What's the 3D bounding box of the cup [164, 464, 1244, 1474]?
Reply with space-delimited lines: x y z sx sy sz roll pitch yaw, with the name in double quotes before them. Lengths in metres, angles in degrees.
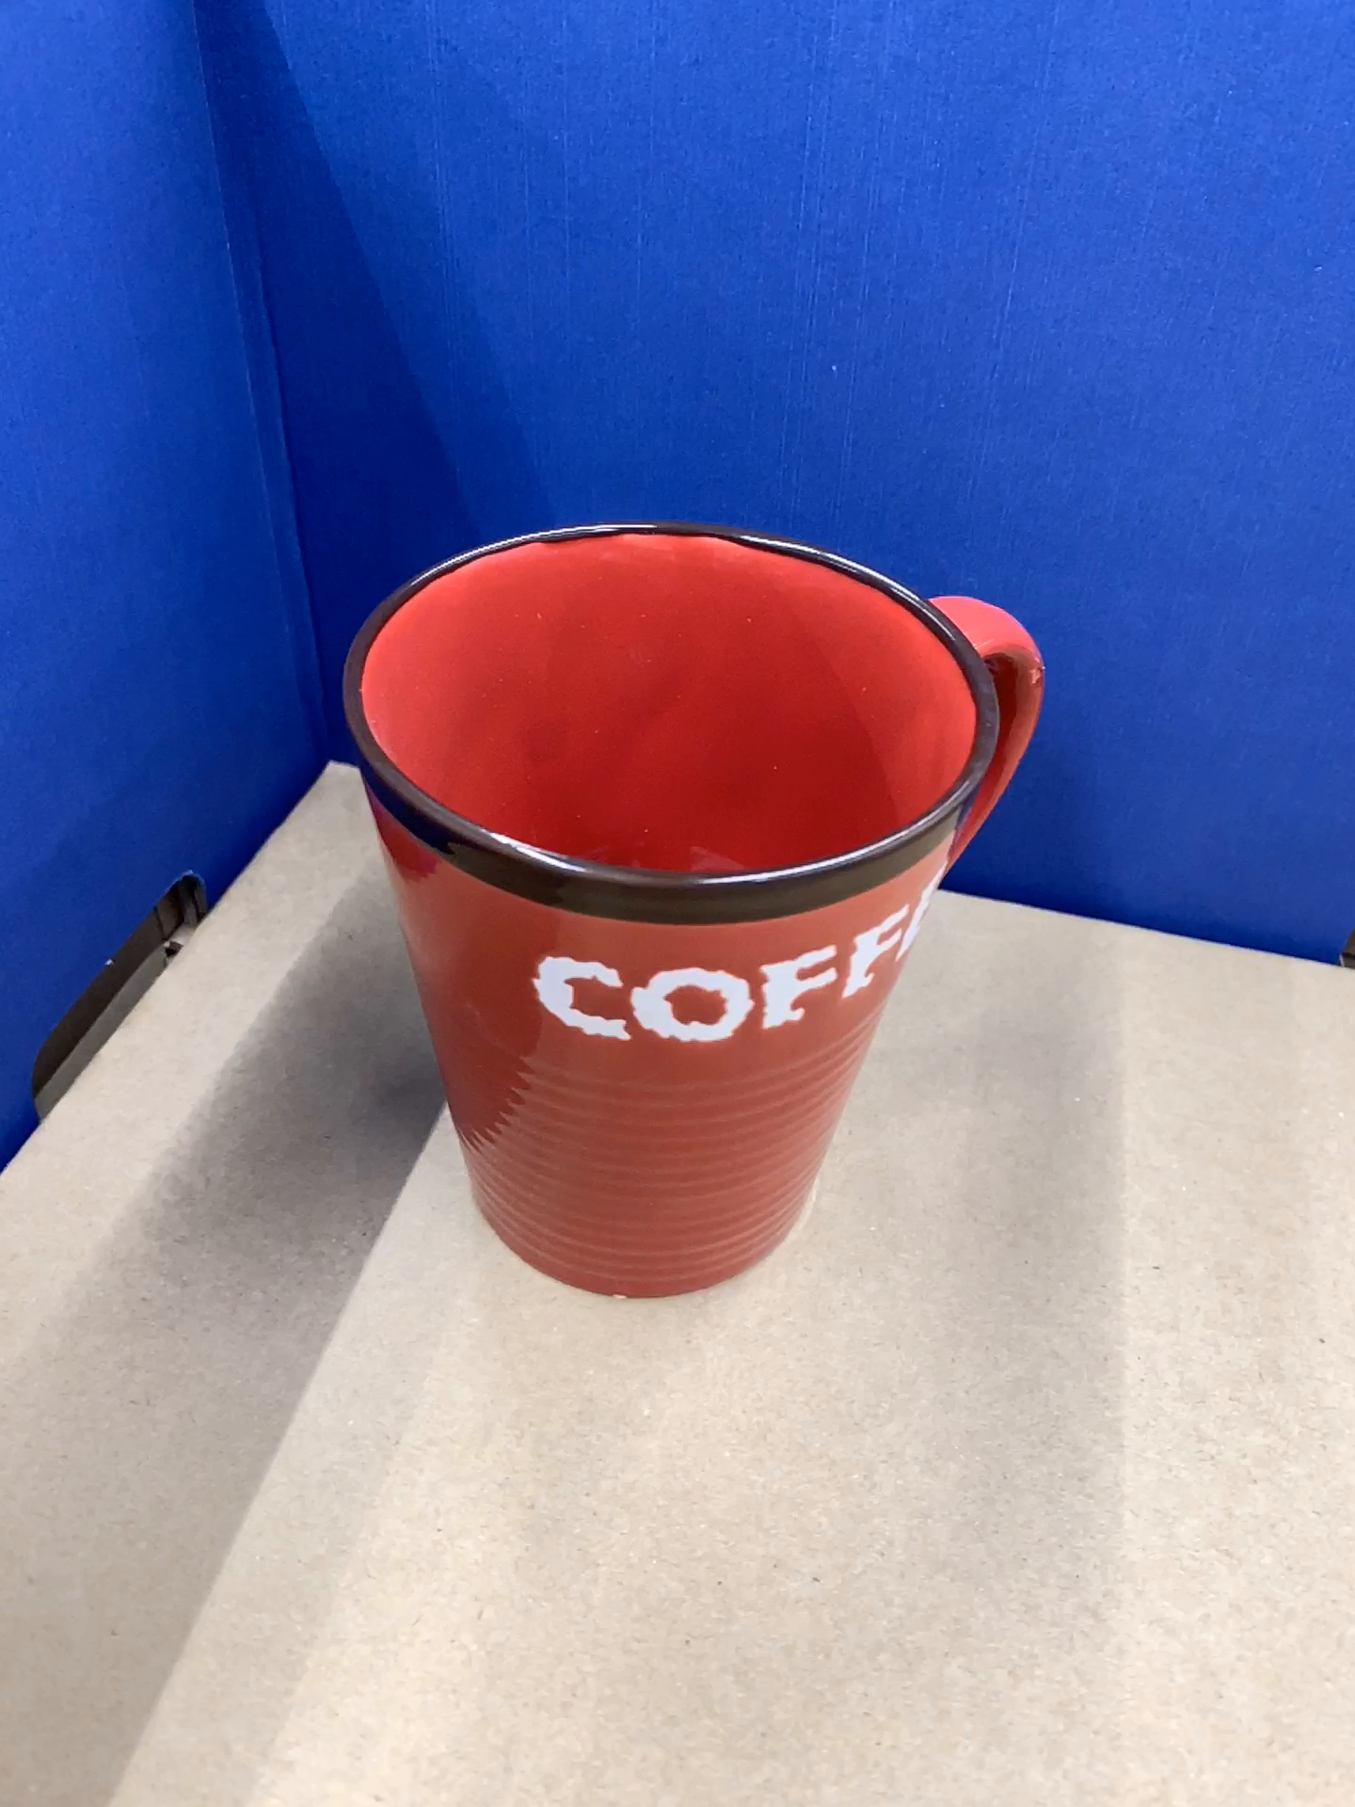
"cup" 0.002 -0.001 0.237 0.125 0.092 0.101 -23 45 -29
